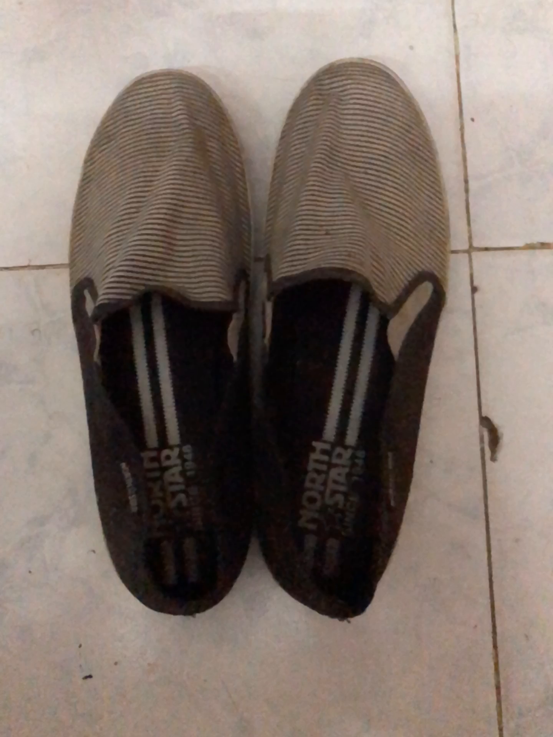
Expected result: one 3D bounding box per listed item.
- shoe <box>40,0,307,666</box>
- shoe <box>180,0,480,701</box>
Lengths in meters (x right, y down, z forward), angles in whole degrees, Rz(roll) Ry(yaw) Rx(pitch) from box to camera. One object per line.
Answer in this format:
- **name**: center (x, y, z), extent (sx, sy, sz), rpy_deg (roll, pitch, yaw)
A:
- **shoe**: center (-0.051, -0.033, 0.331), extent (0.110, 0.090, 0.330), rpy_deg (-4, 82, 2)
- **shoe**: center (0.030, -0.031, 0.320), extent (0.110, 0.090, 0.340), rpy_deg (4, 82, 3)
